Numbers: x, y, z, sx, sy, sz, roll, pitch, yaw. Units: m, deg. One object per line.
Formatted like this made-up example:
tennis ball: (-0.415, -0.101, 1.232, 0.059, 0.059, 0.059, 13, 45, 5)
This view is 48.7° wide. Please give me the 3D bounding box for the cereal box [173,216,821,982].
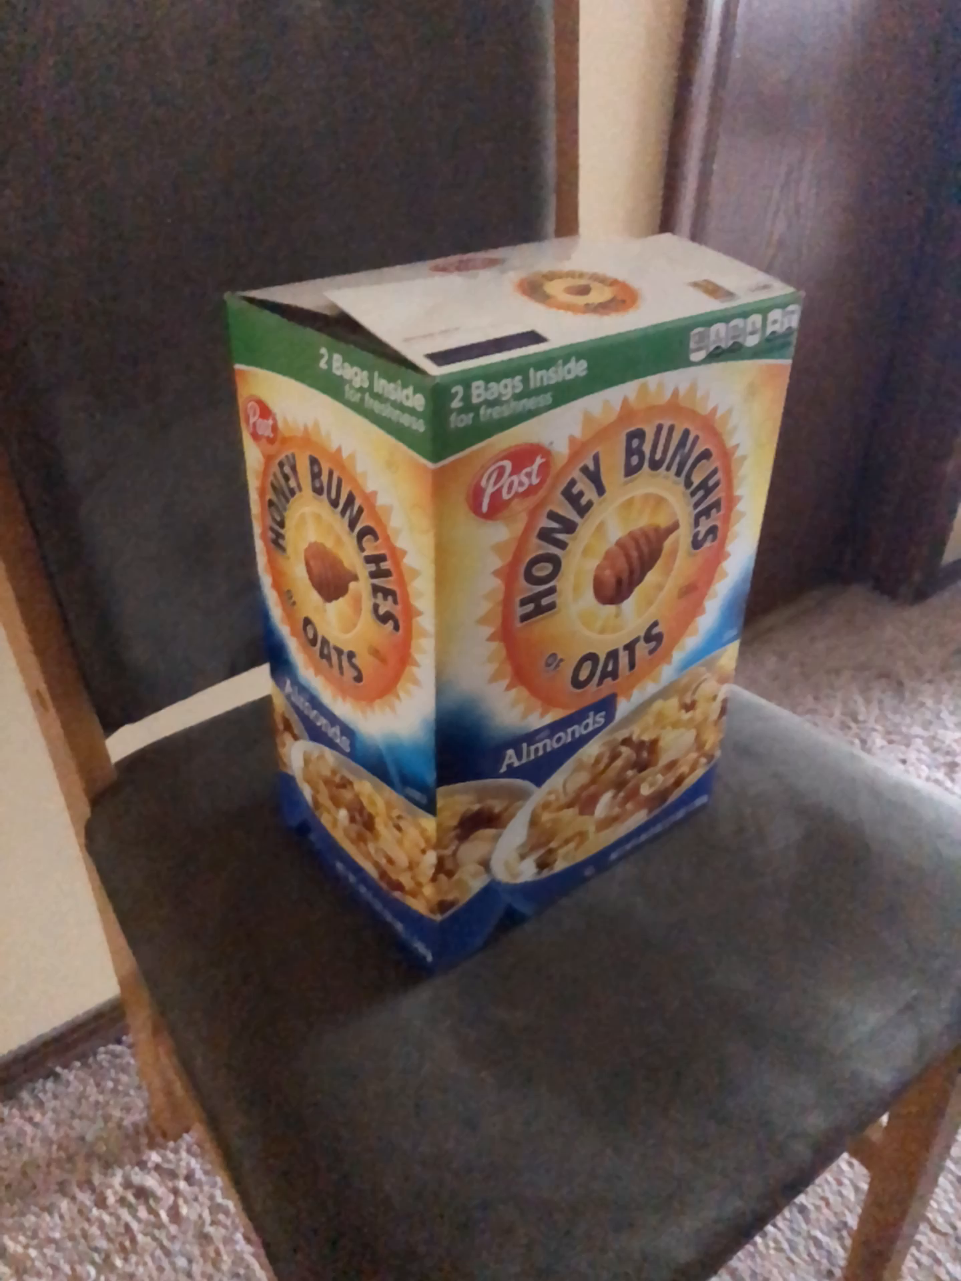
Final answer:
cereal box: (0.009, -0.035, 0.518, 0.220, 0.279, 0.160, -23, 38, -32)
